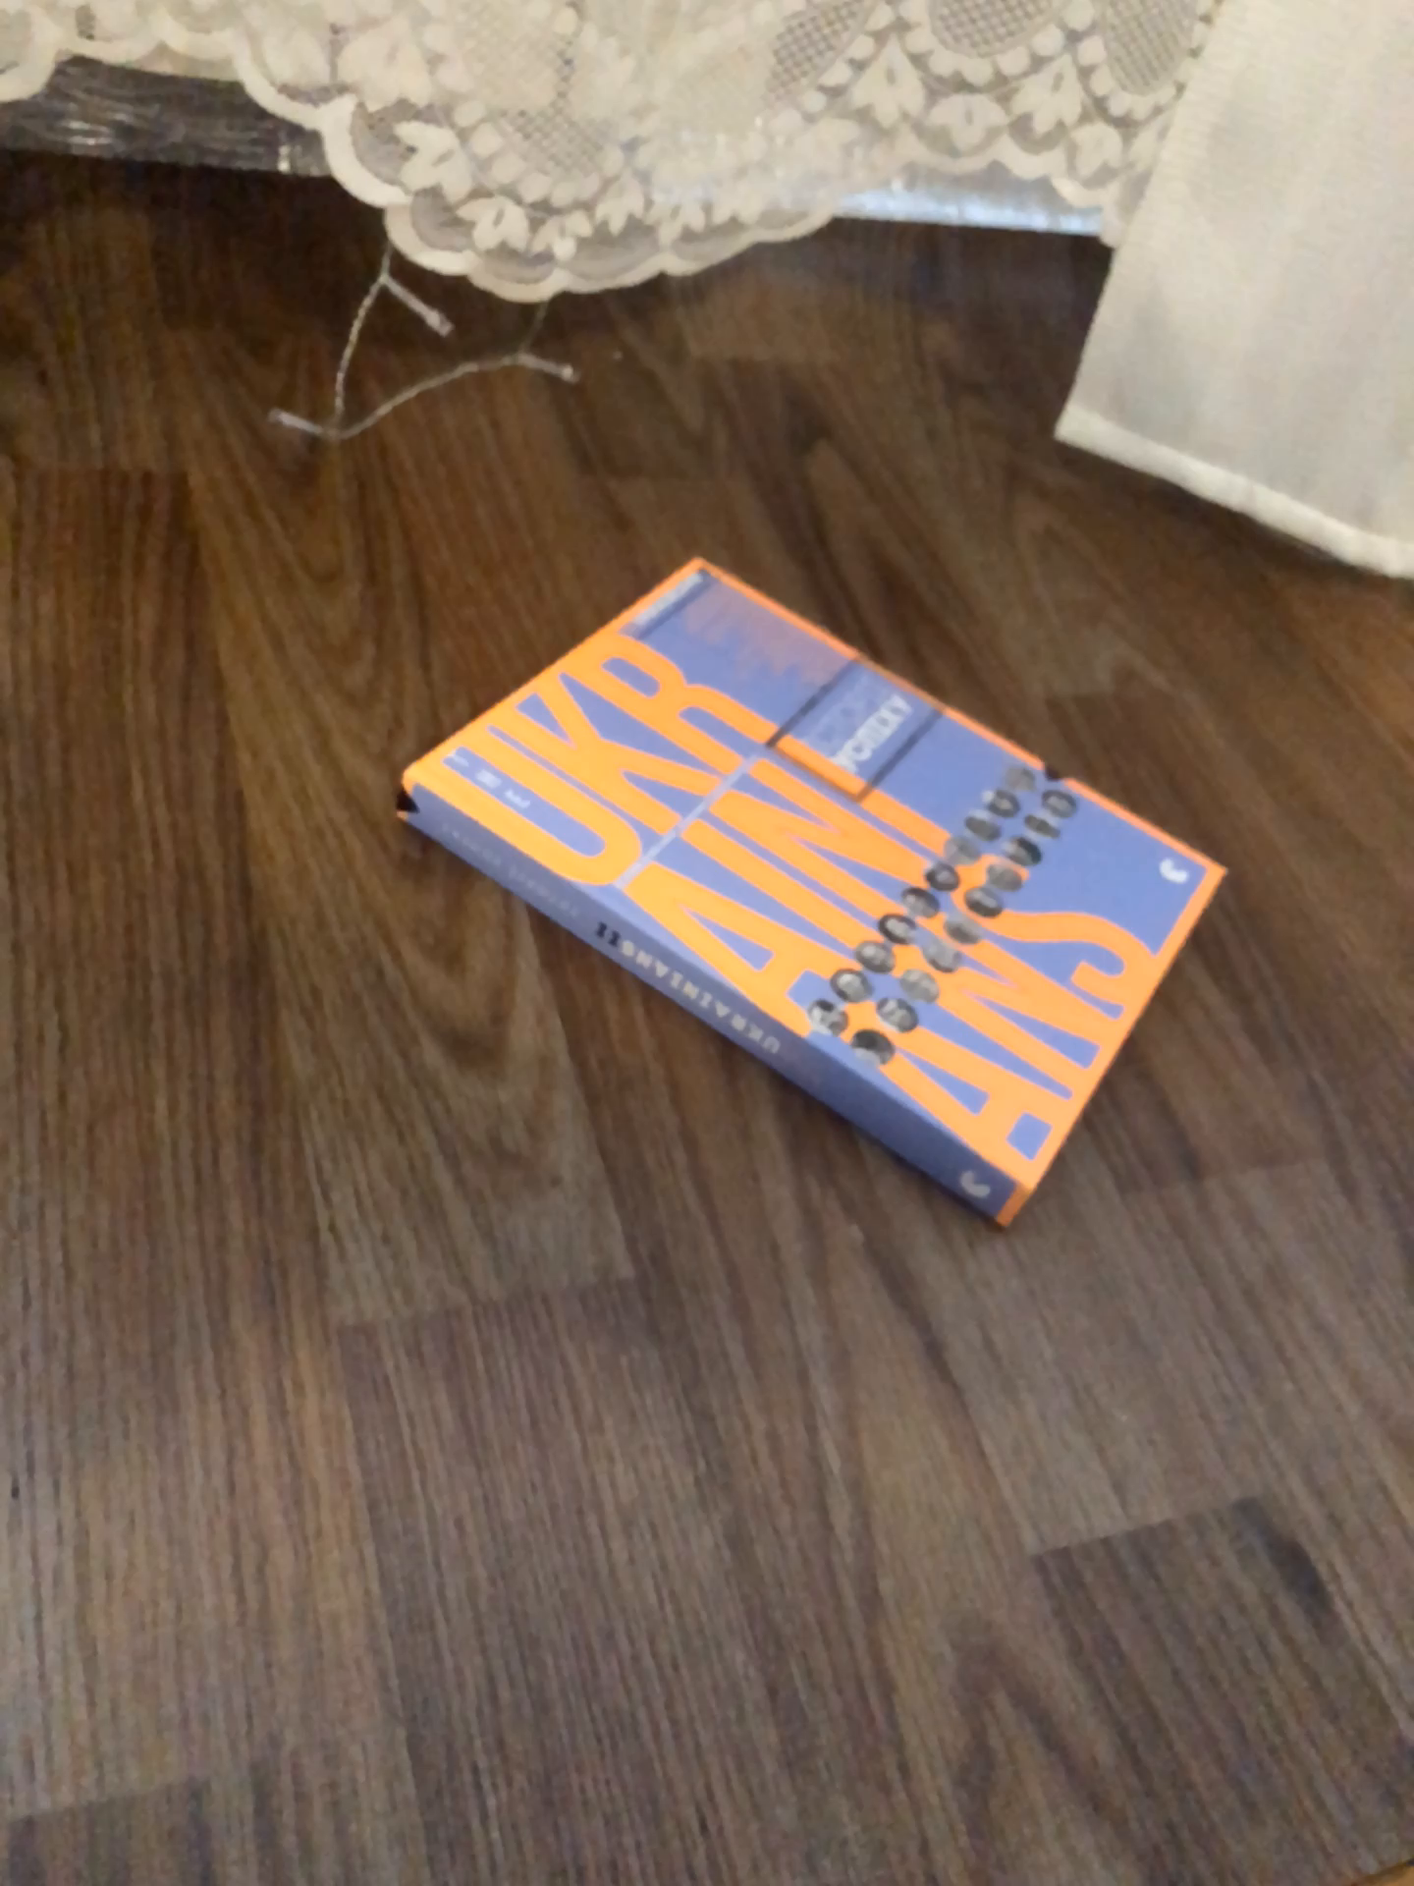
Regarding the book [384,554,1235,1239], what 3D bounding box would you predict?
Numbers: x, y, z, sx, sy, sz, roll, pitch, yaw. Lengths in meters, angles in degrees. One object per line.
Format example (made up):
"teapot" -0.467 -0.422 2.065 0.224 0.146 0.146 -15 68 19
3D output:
"book" 0.039 -0.030 0.484 0.215 0.020 0.165 33 46 11
